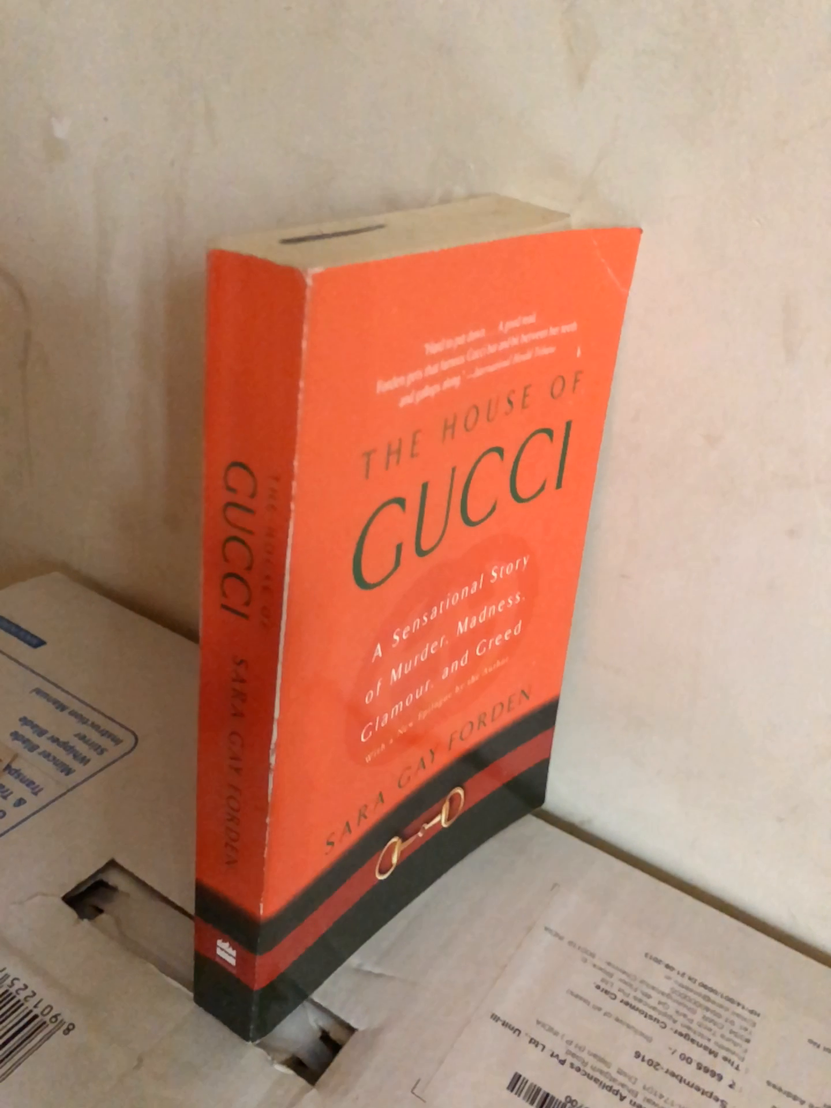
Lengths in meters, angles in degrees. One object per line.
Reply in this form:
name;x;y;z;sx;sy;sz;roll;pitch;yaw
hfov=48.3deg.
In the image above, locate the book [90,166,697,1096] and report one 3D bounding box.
book;0.002;0.012;0.282;0.040;0.229;0.191;25;34;28
